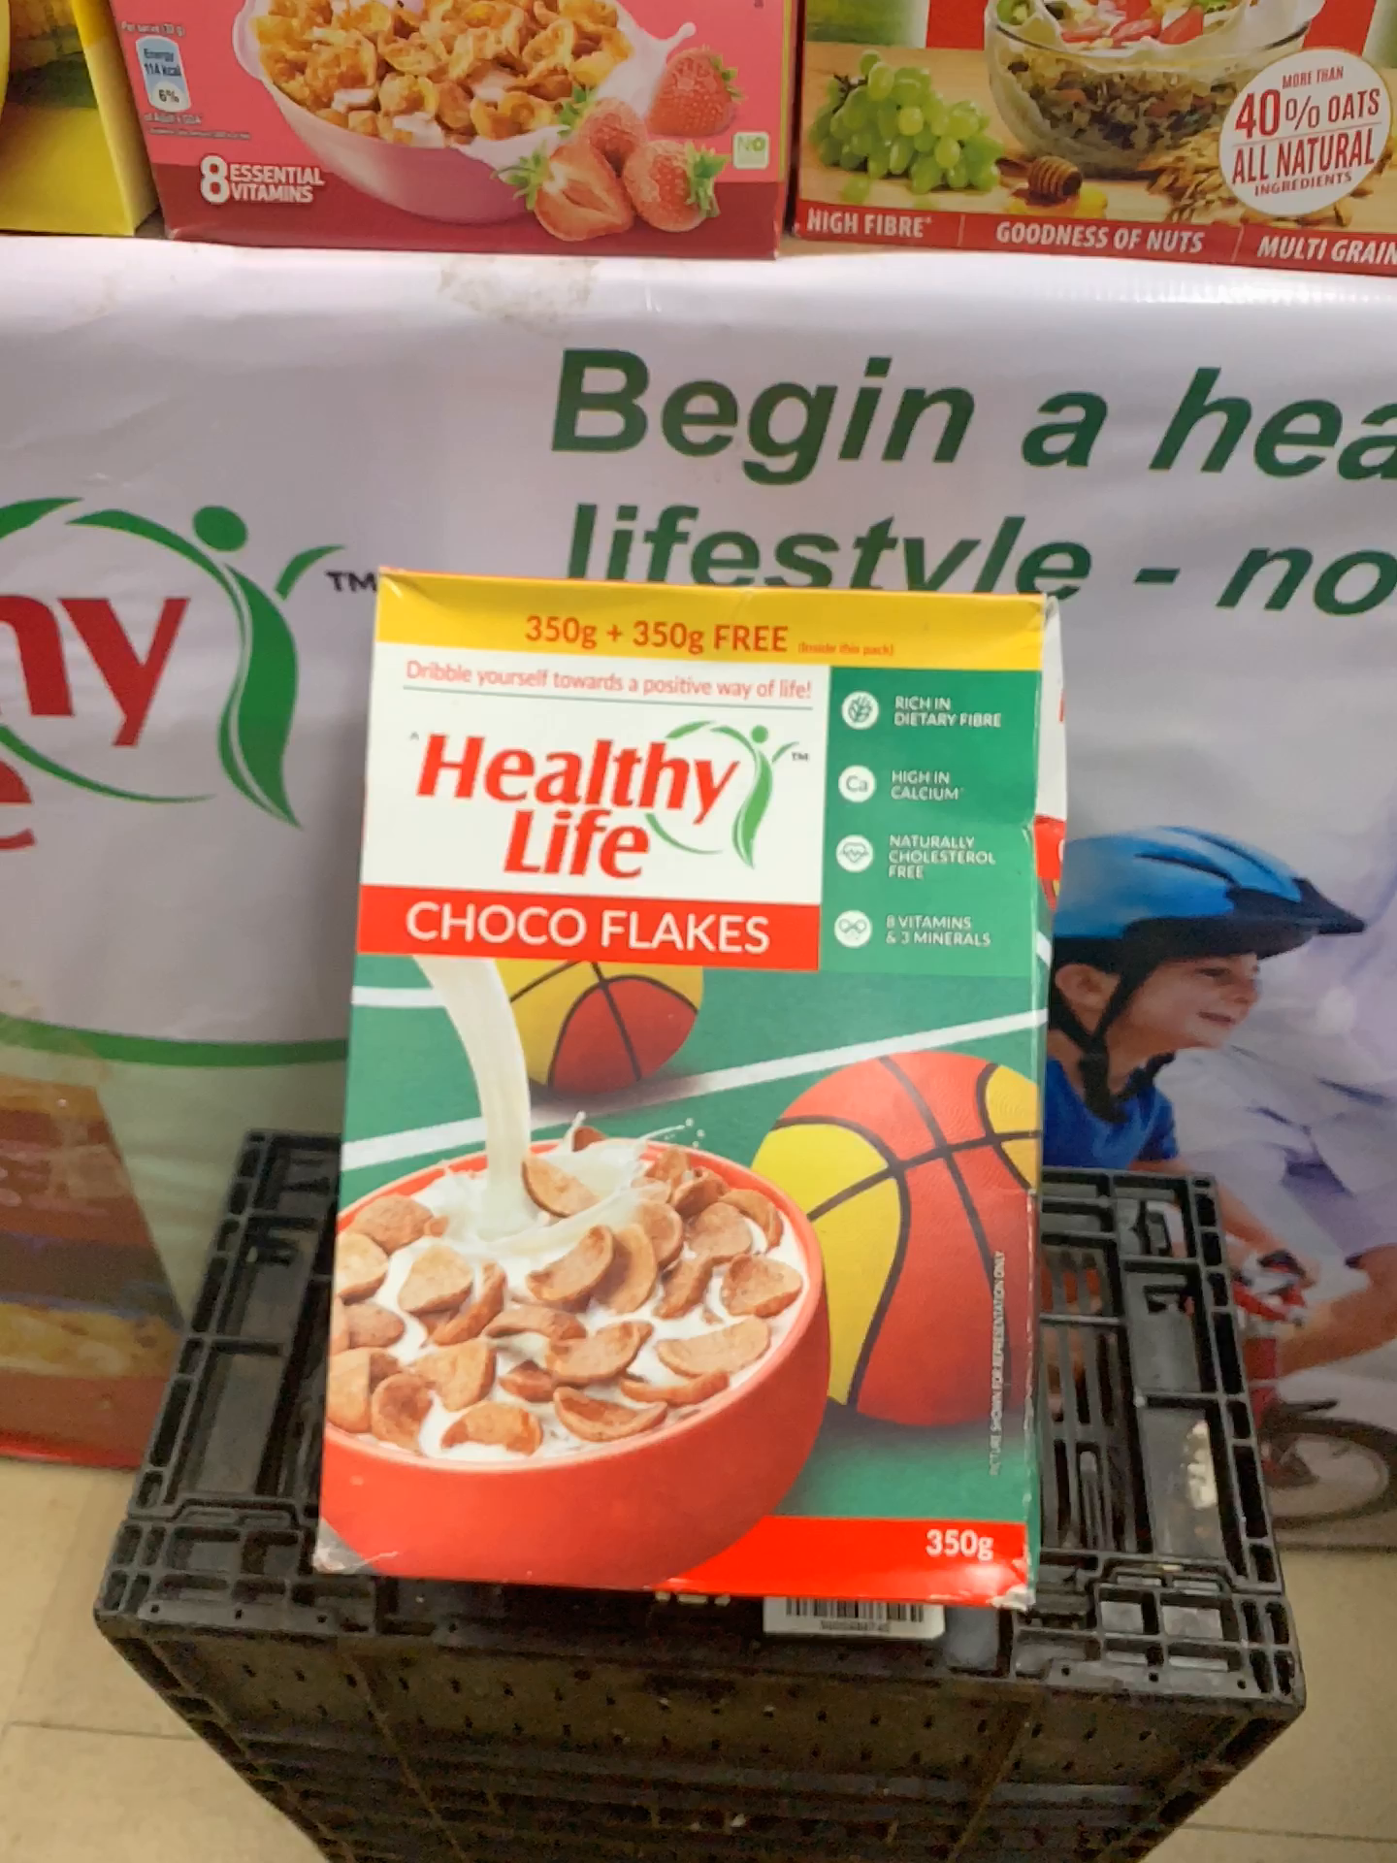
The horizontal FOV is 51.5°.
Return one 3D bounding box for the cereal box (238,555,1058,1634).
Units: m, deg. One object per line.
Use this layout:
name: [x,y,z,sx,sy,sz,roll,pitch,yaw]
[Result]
cereal box: [-0.011,0.042,0.432,0.210,0.090,0.280,2,86,2]
